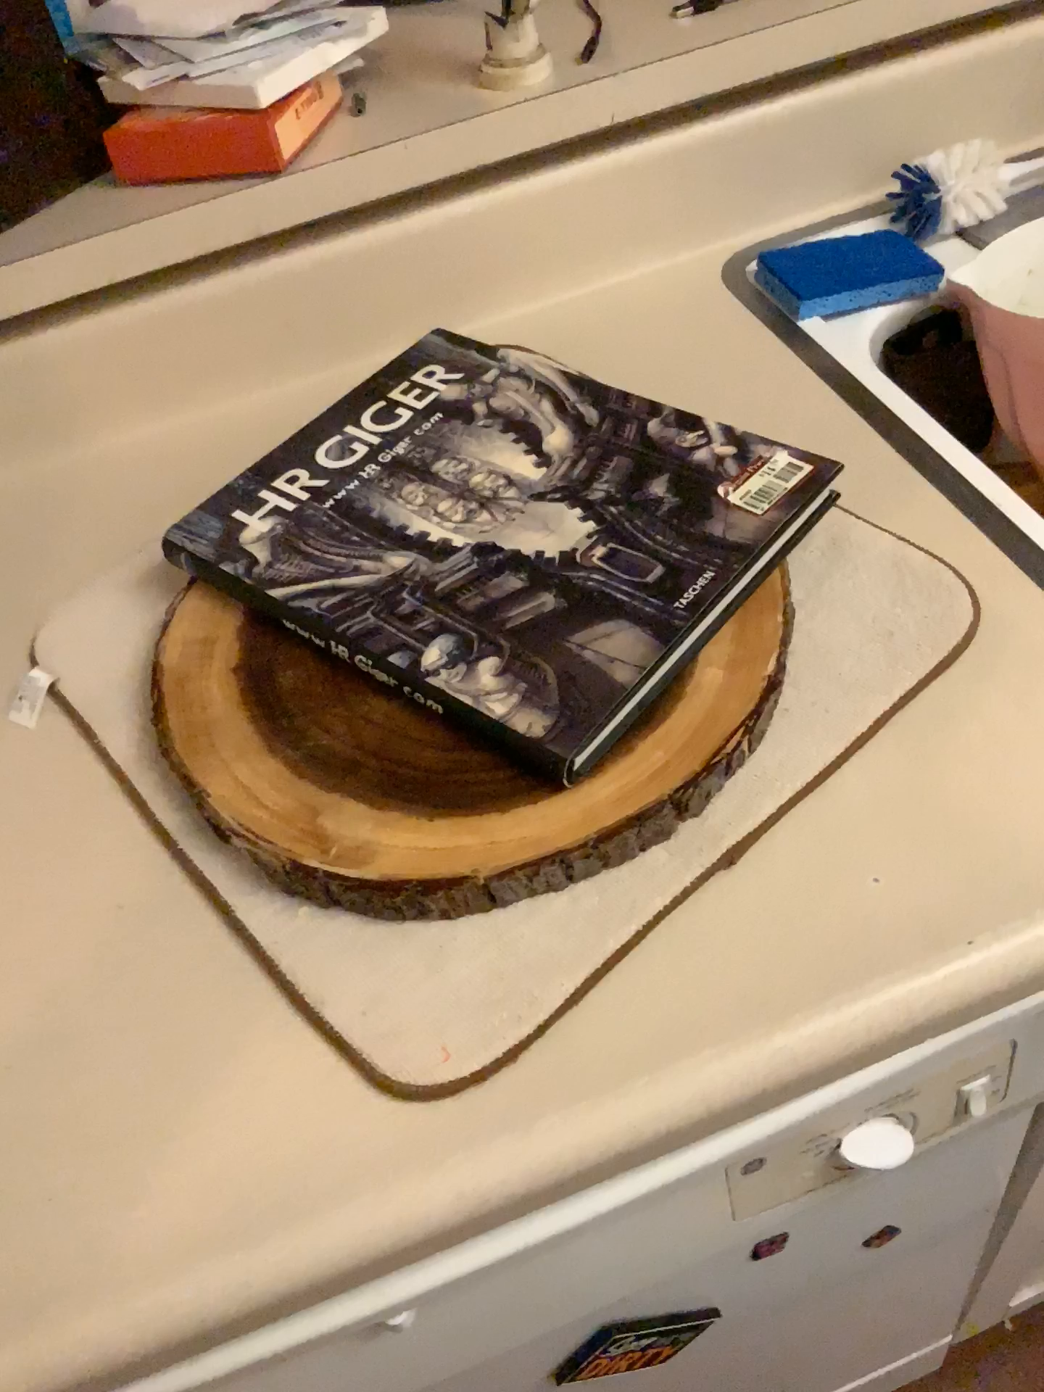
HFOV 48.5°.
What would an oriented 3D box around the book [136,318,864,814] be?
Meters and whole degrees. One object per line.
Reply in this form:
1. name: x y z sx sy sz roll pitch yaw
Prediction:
1. book: -0.018 -0.105 0.682 0.330 0.030 0.270 27 58 30
